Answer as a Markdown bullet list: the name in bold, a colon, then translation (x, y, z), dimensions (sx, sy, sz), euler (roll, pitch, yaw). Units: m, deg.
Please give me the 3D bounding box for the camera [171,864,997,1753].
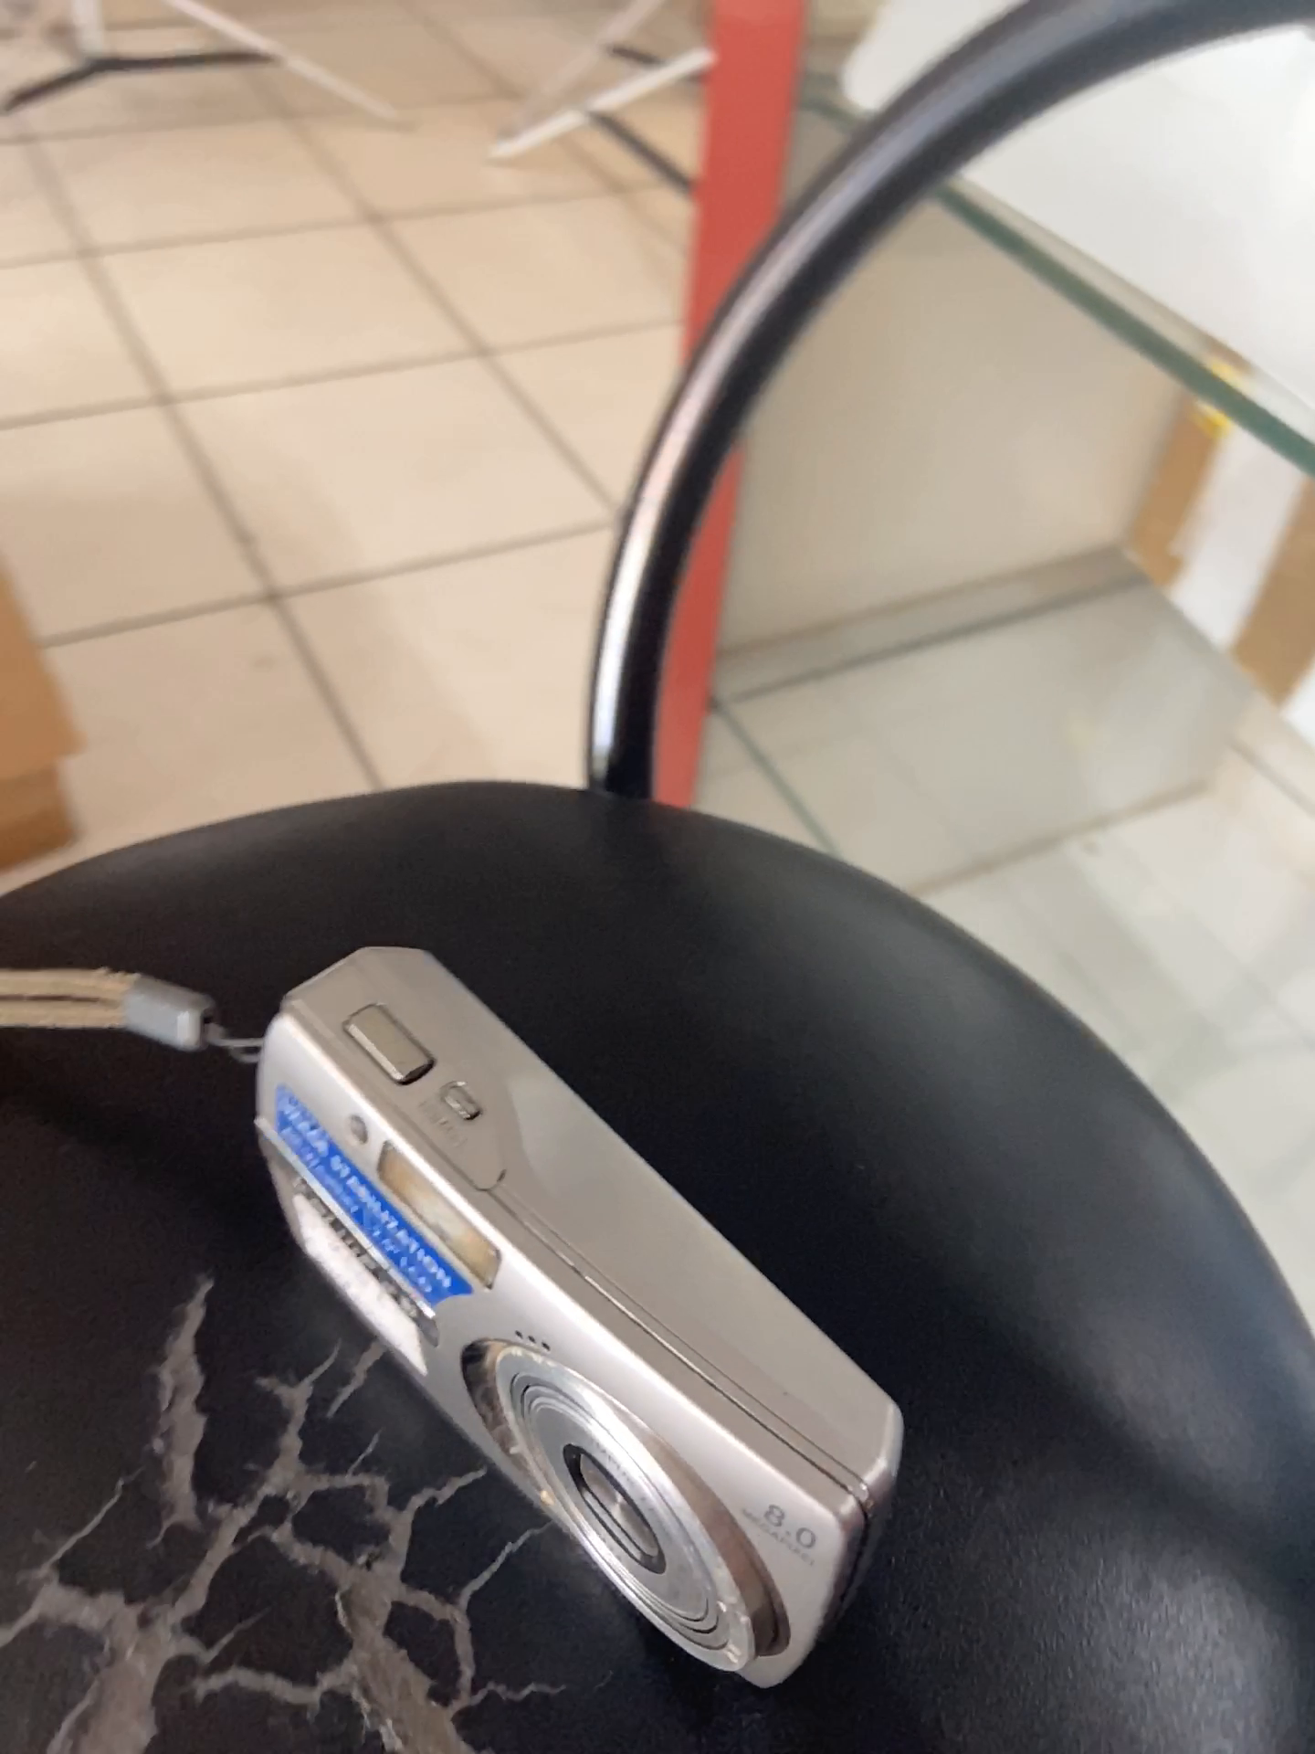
- **camera**: translation (-0.015, 0.053, 0.176), dimensions (0.100, 0.060, 0.030), euler (36, 53, 24)
